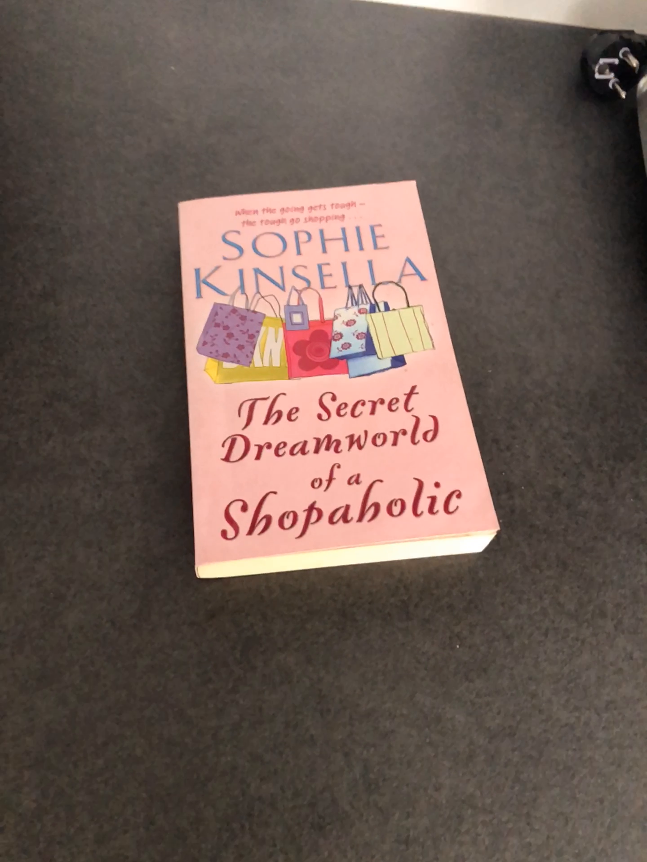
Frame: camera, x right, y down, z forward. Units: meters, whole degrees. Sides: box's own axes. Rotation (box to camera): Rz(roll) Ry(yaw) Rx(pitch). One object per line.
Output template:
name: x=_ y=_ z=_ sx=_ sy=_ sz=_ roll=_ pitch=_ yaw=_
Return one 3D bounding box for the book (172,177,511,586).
book: x=-0.001 y=-0.035 z=0.344 sx=0.130 sy=0.030 sz=0.200 roll=-5 pitch=63 yaw=-7
